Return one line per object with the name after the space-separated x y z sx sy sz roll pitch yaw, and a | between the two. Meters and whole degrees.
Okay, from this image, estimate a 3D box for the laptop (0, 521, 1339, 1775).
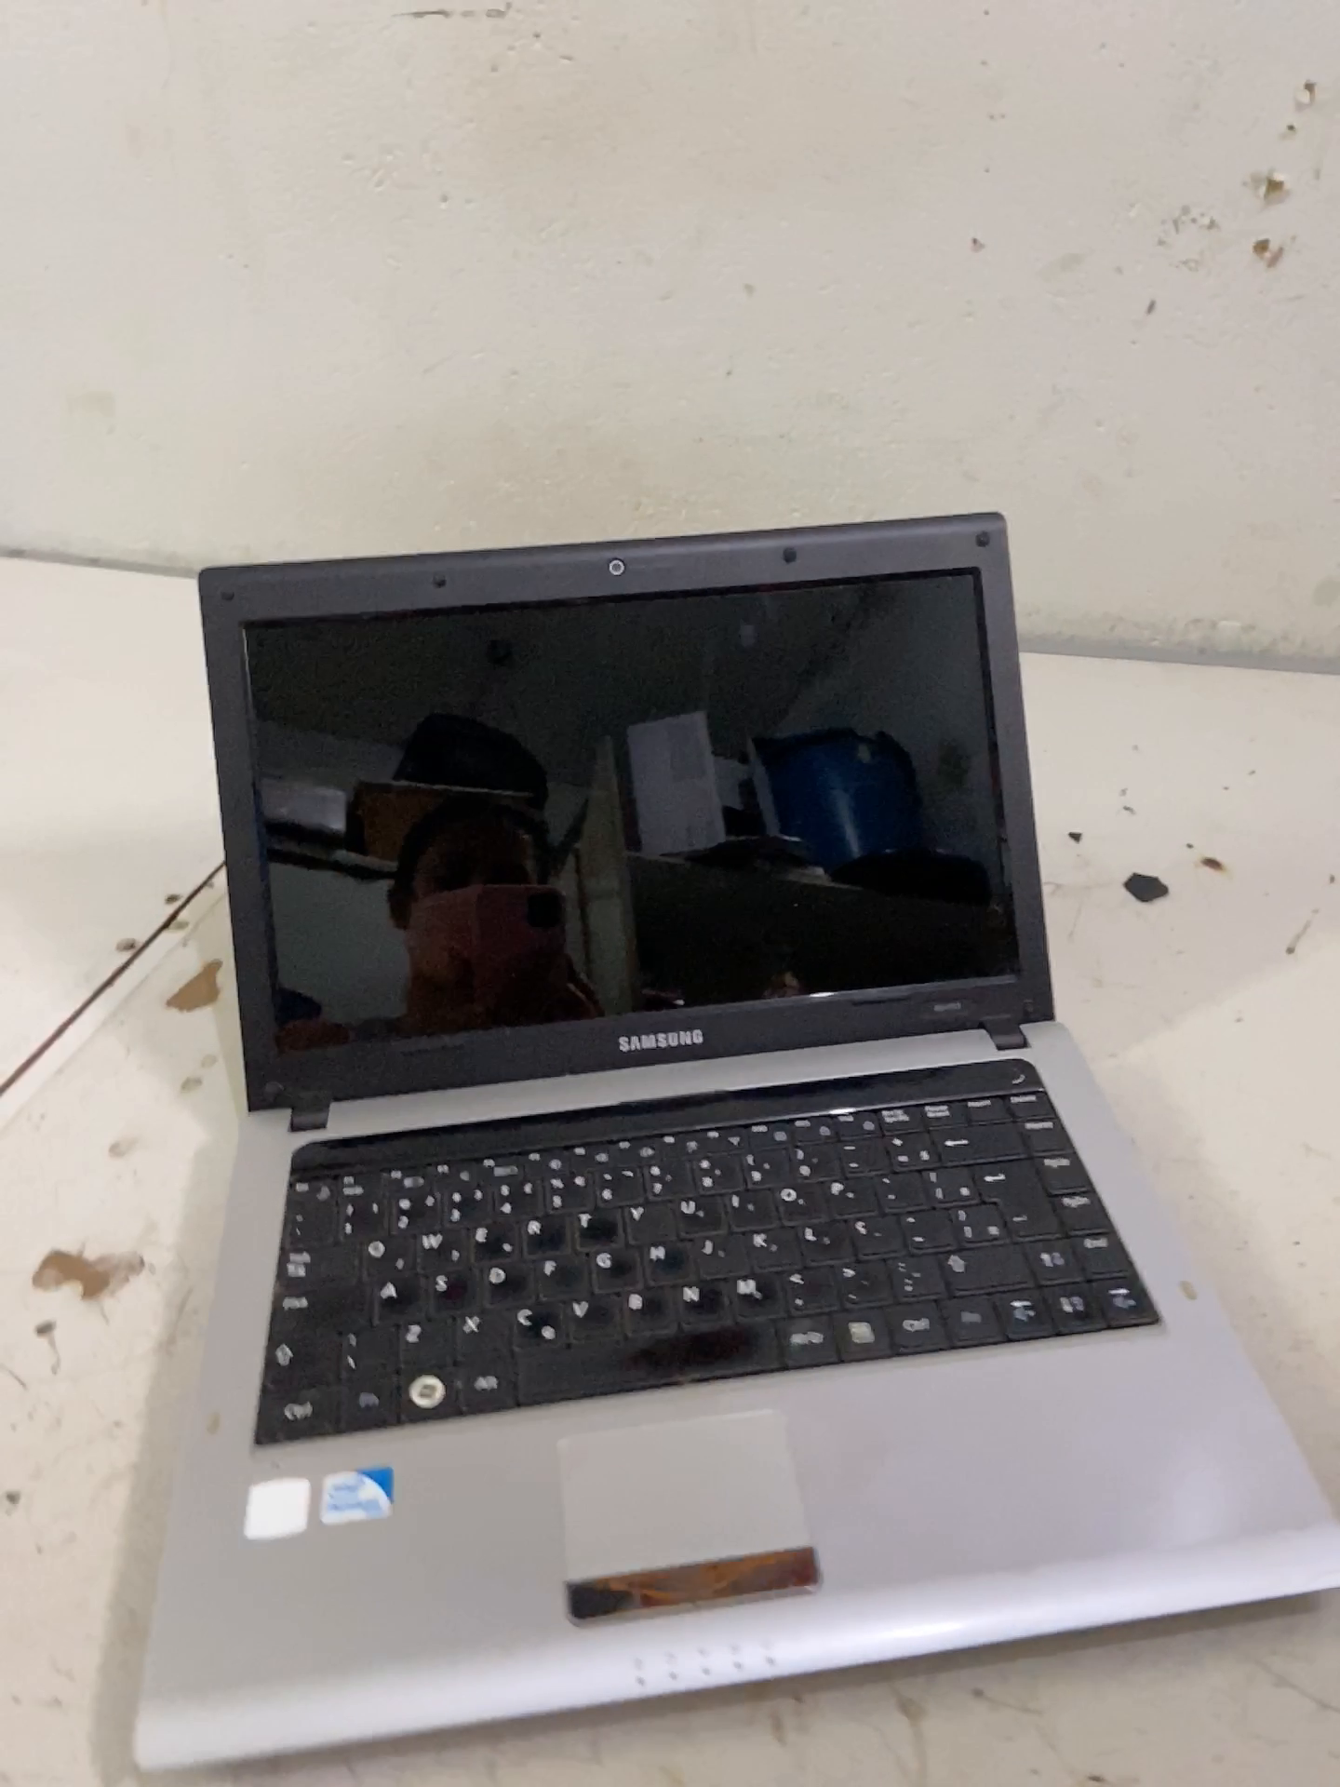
0.007 0.033 0.459 0.334 0.172 0.364 -5 35 -5 | laptop
